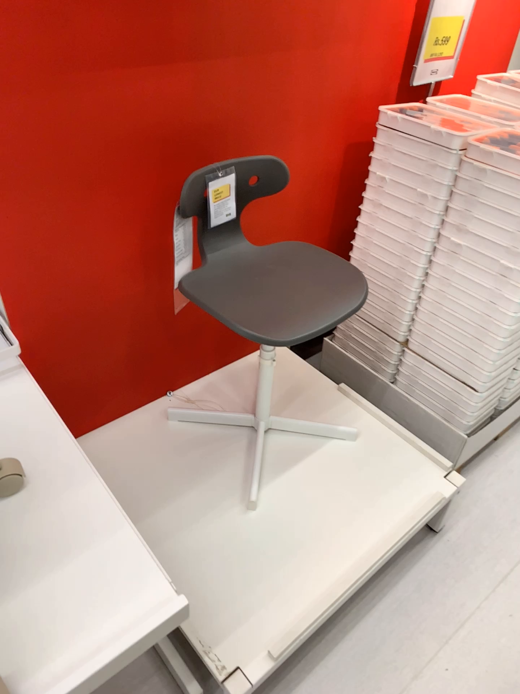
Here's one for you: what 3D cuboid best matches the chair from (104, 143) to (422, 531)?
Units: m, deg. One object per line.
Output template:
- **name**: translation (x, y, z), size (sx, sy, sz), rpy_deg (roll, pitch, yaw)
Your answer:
- **chair**: translation (-0.013, -0.036, 1.280), size (0.461, 0.697, 0.451), rpy_deg (-27, 48, -32)
